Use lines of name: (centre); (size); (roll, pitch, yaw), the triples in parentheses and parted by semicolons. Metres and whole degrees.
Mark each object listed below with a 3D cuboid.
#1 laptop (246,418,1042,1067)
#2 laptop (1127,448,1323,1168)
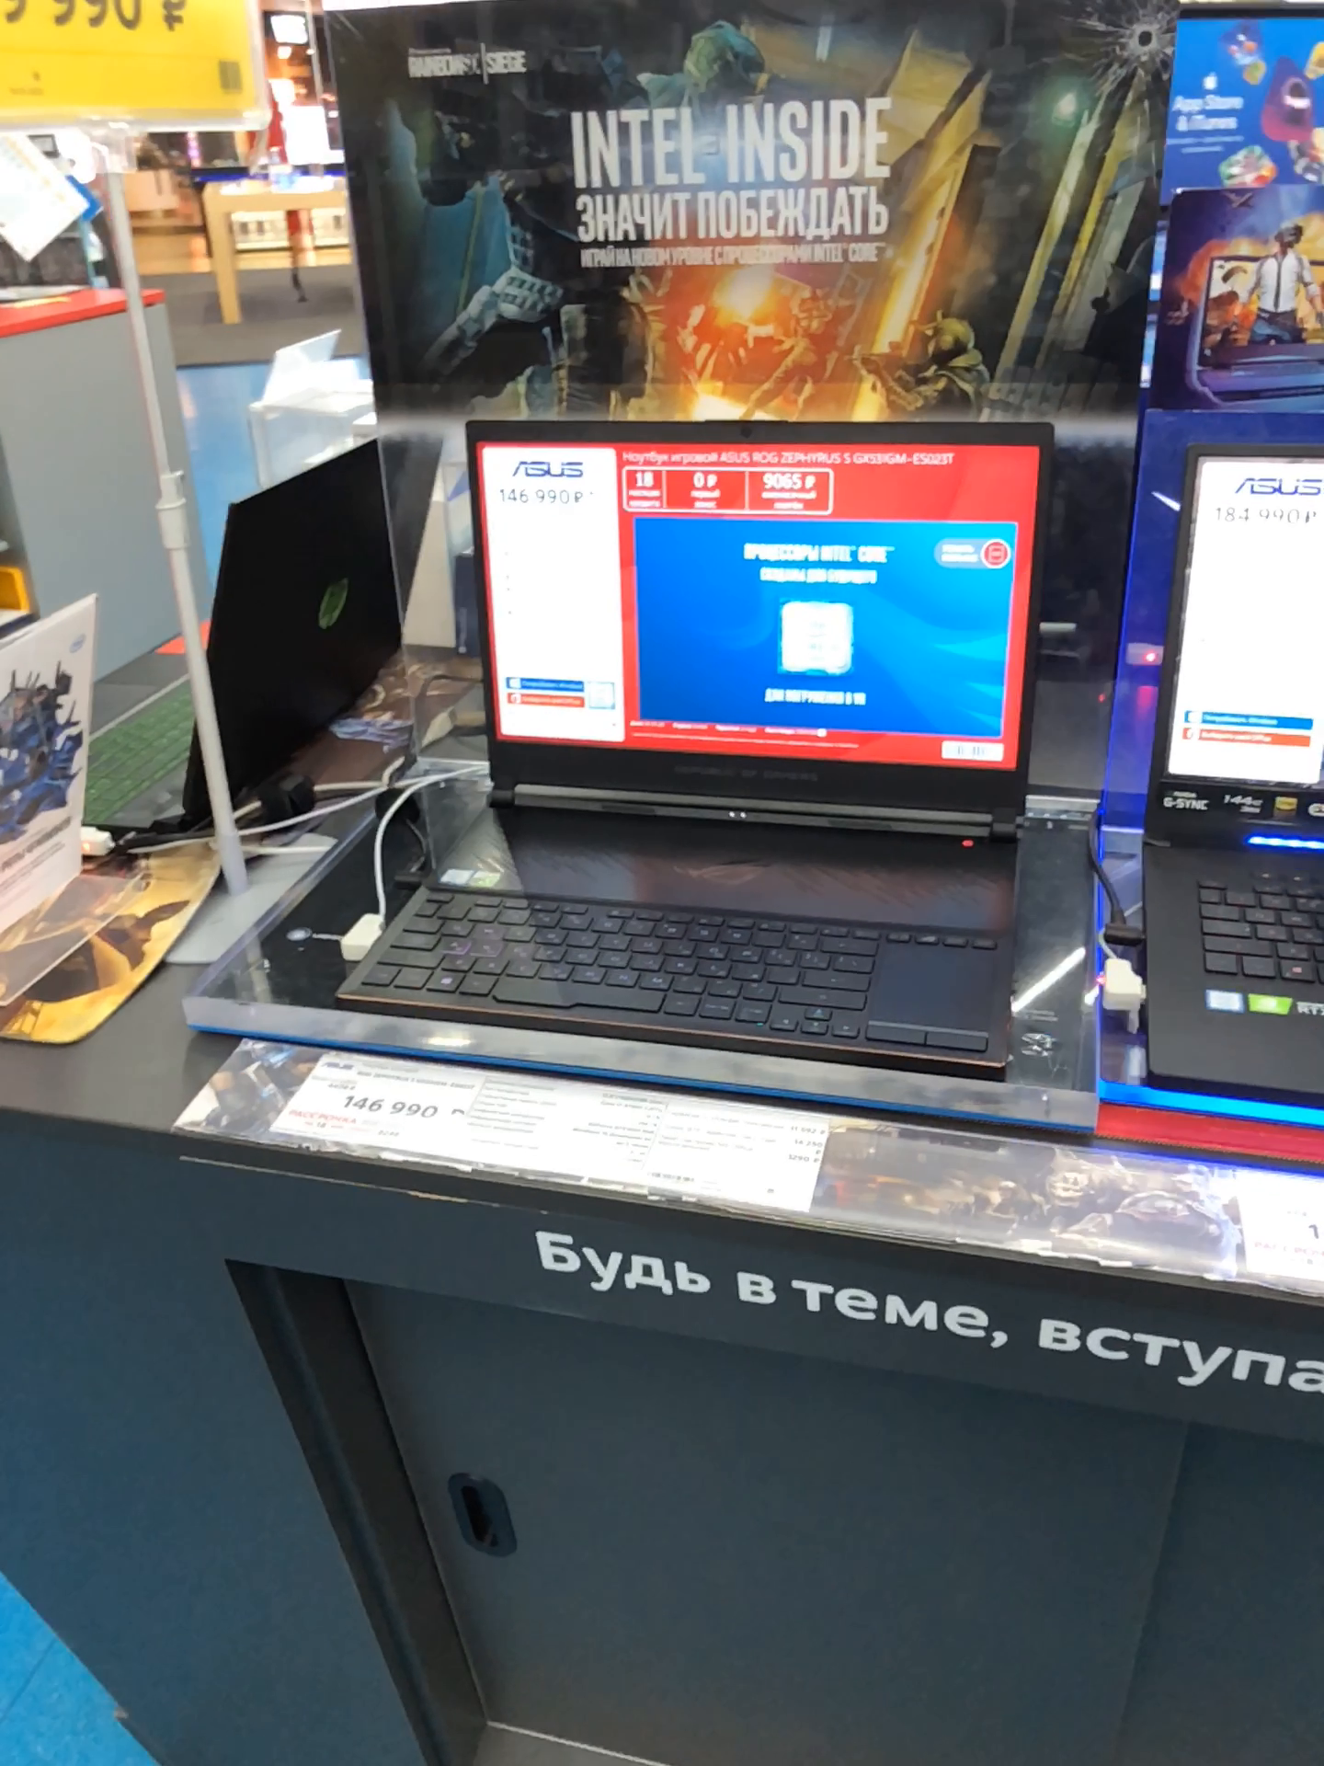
laptop: (0.015, -0.101, 0.801); (0.349, 0.241, 0.279); (5, 30, 14)
laptop: (0.432, -0.065, 0.722); (0.341, 0.219, 0.303); (6, 30, 17)
